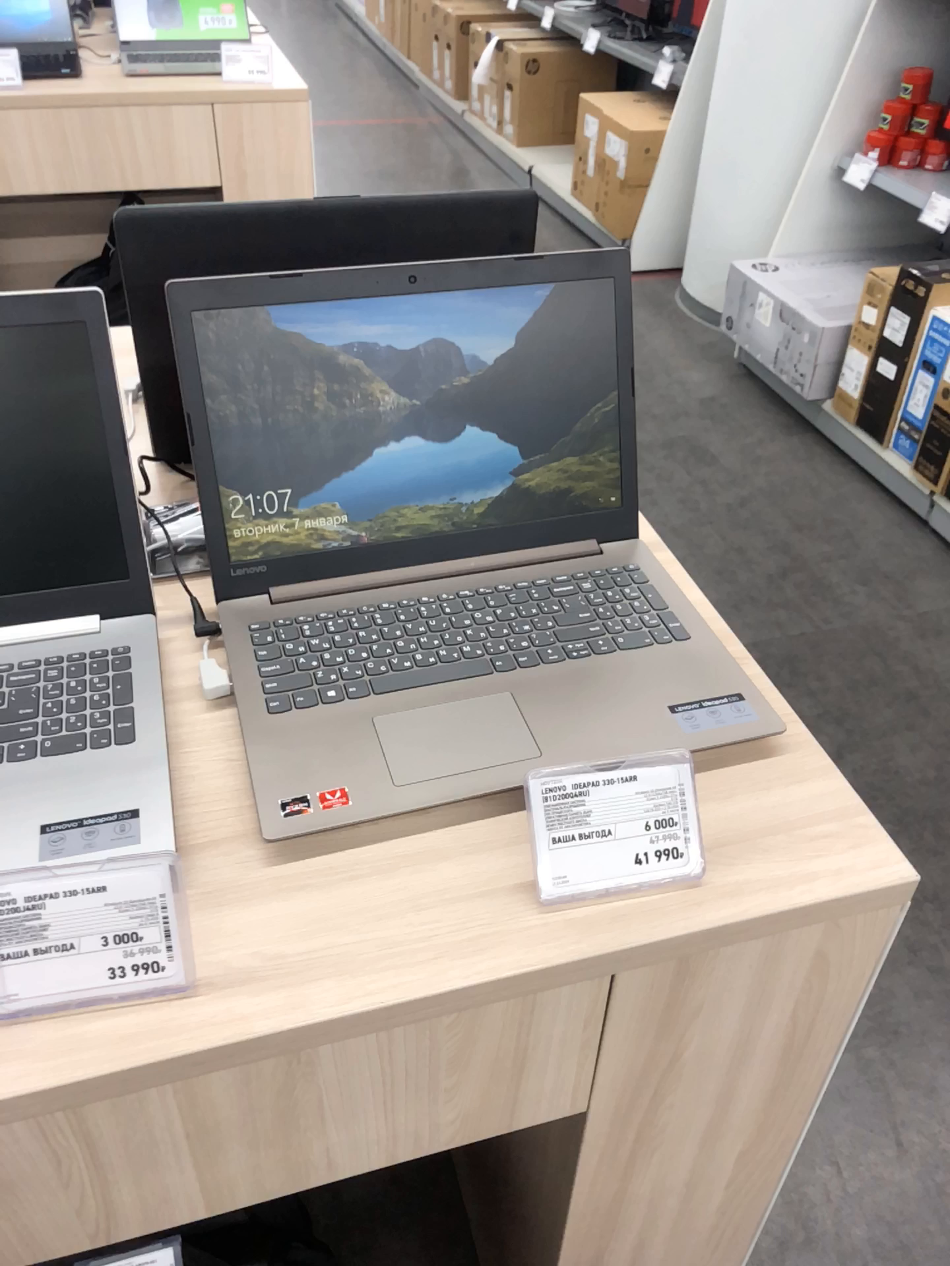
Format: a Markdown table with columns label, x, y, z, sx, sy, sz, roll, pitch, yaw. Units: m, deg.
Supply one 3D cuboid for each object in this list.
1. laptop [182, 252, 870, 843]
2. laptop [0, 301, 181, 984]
| label | x | y | z | sx | sy | sz | roll | pitch | yaw |
| --- | --- | --- | --- | --- | --- | --- | --- | --- | --- |
| laptop | 0.002 | -0.088 | 0.725 | 0.351 | 0.209 | 0.330 | -10 | 40 | -14 |
| laptop | -0.385 | -0.027 | 0.617 | 0.343 | 0.207 | 0.324 | -9 | 40 | -16 |
